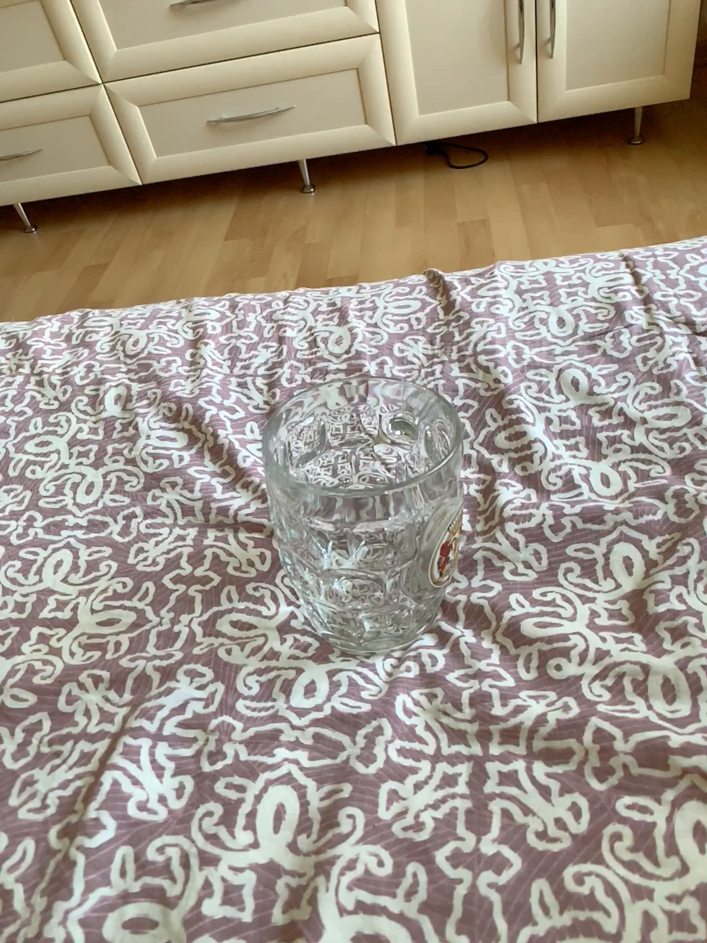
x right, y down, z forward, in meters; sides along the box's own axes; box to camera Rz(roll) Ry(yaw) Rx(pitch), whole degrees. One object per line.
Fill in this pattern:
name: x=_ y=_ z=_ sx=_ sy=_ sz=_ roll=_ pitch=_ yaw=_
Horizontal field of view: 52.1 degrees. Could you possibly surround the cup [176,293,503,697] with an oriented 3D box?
cup: x=0.006 y=0.006 z=0.332 sx=0.090 sy=0.109 sz=0.131 roll=12 pitch=49 yaw=20
